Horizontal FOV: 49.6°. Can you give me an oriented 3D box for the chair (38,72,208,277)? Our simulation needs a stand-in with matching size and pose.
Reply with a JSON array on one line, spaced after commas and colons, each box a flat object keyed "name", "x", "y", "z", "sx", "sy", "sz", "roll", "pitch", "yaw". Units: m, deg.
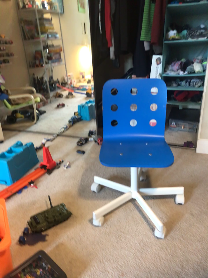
[{"name": "chair", "x": 0.119, "y": 0.110, "z": 1.199, "sx": 0.620, "sy": 0.815, "sz": 0.675, "roll": 2, "pitch": 23, "yaw": 5}]
